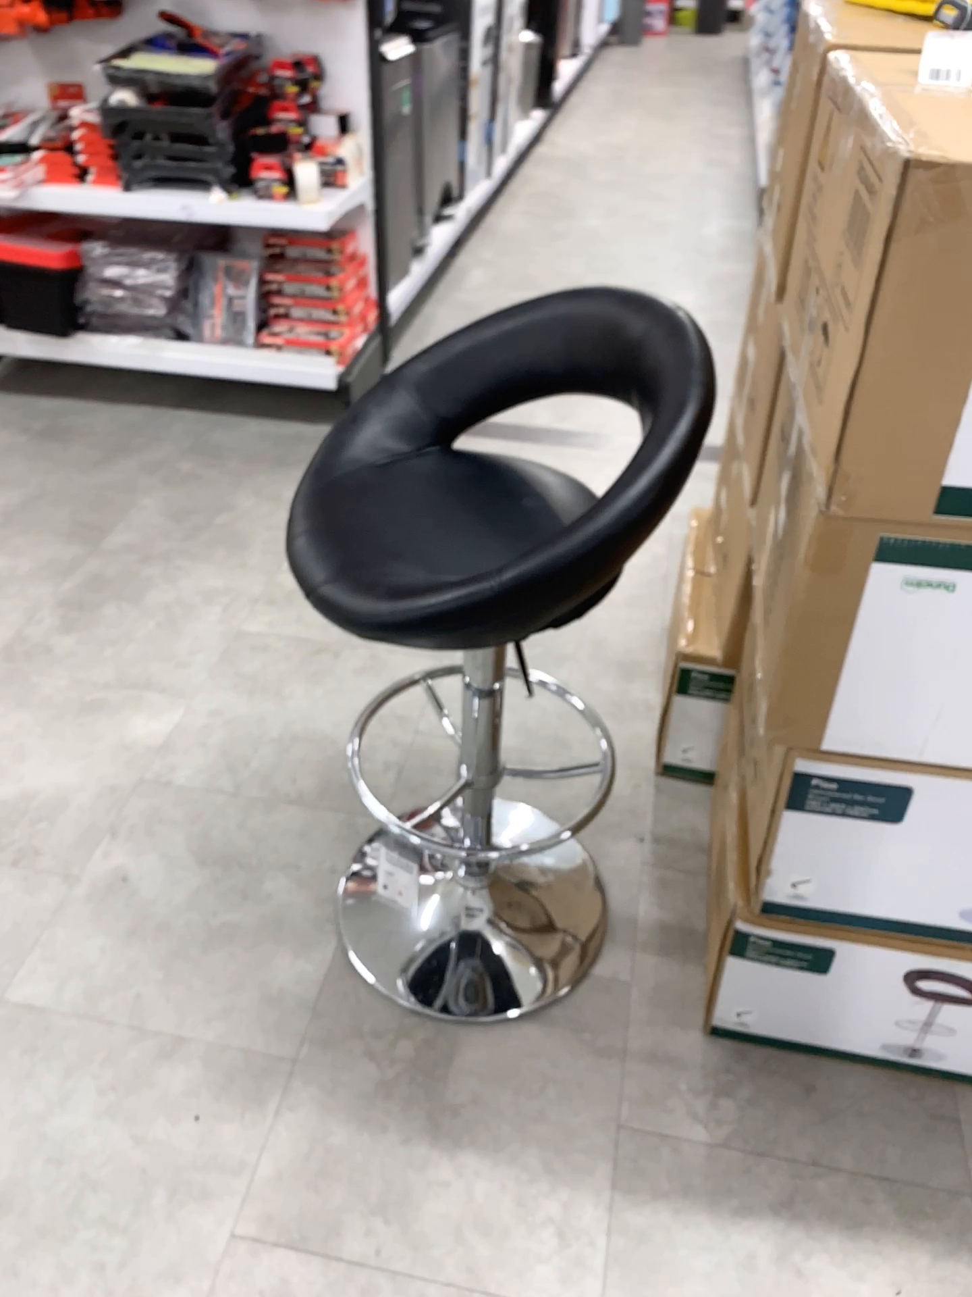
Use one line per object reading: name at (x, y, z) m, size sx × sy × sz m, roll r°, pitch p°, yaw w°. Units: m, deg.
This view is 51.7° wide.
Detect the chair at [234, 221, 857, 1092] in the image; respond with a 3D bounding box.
chair at (0.004, 0.025, 1.290) m, size 0.483 × 0.933 × 0.514 m, roll -9°, pitch 39°, yaw -14°
